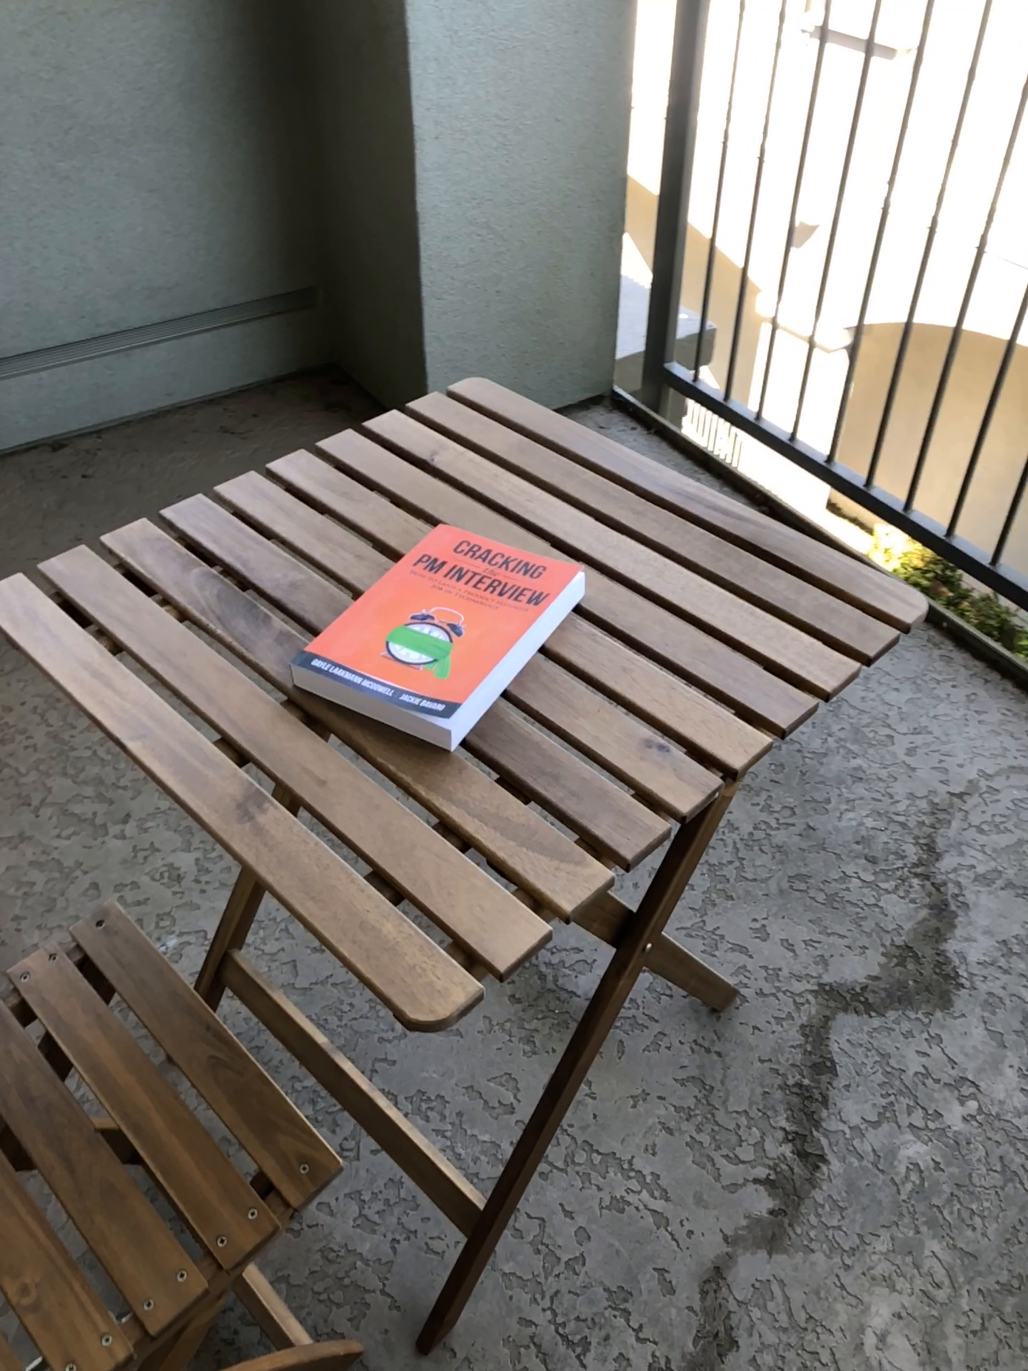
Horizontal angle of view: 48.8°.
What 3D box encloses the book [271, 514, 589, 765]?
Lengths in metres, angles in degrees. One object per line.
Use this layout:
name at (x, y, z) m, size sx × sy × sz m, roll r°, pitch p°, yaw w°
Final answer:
book at (-0.065, -0.049, 0.969) m, size 0.170 × 0.040 × 0.231 m, roll 21°, pitch 46°, yaw 21°
